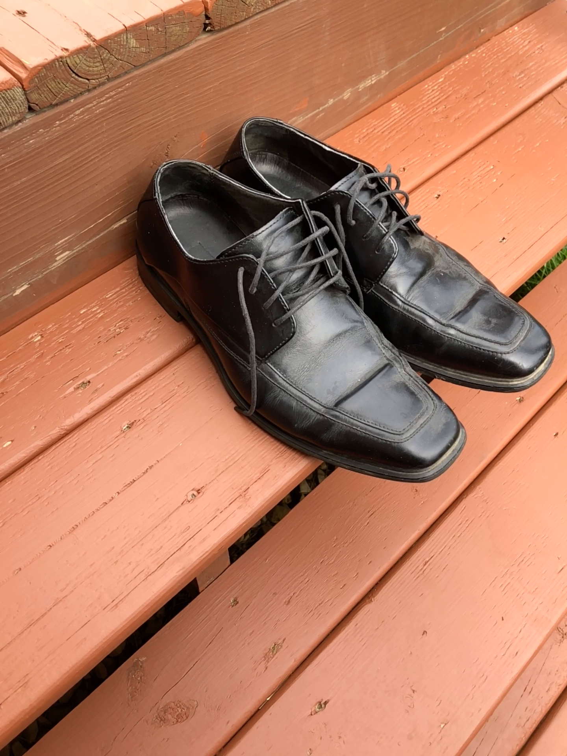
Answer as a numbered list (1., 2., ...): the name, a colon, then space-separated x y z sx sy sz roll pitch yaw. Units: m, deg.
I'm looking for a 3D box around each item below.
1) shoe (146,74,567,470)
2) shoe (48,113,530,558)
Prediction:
1. shoe: 0.059 -0.096 0.500 0.330 0.110 0.130 38 63 20
2. shoe: -0.012 -0.046 0.467 0.130 0.110 0.330 -39 66 -23
